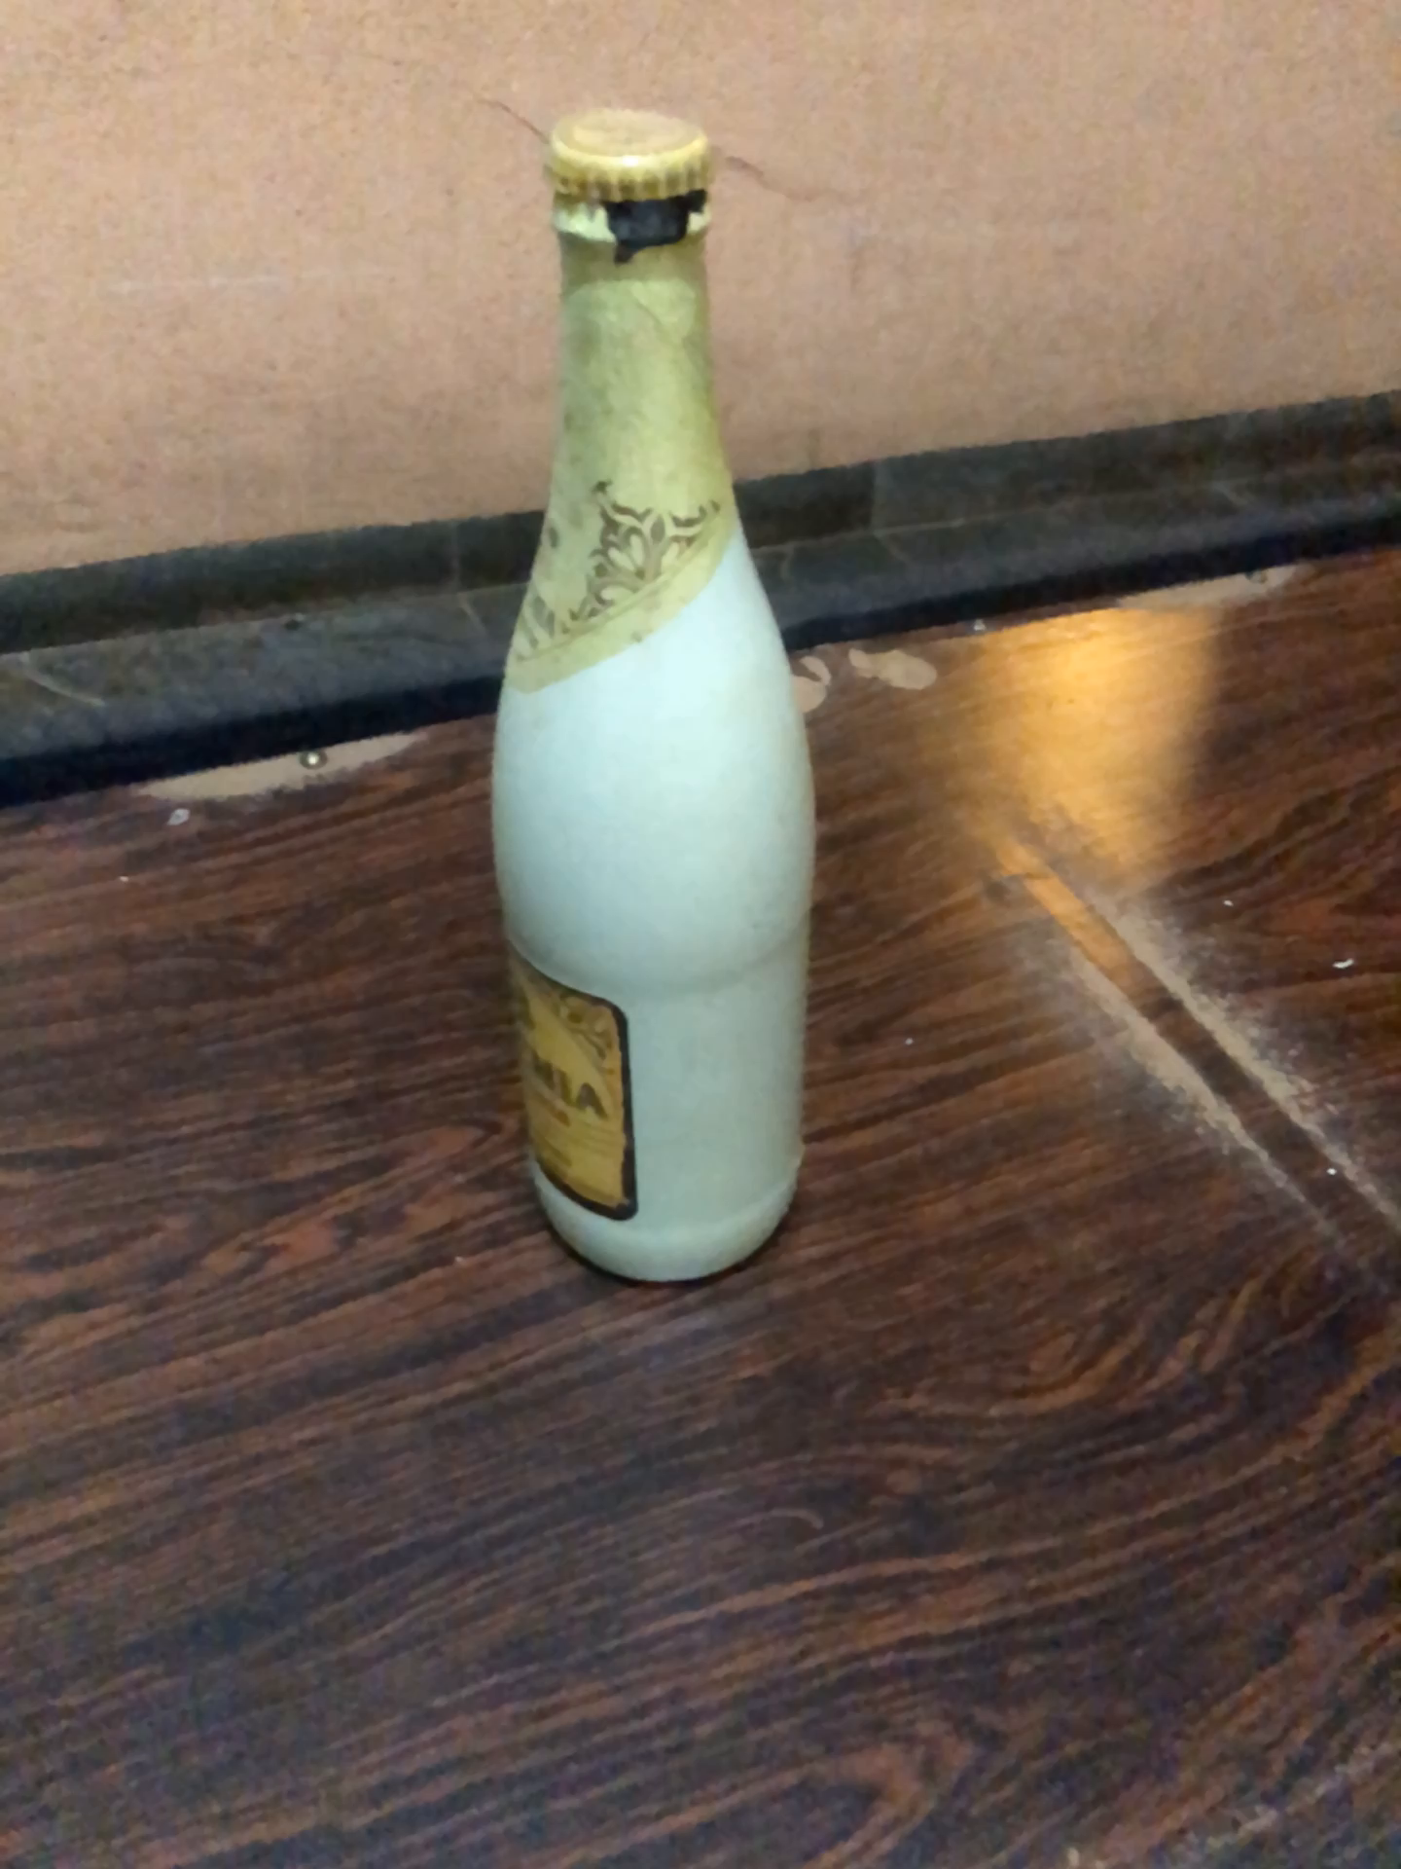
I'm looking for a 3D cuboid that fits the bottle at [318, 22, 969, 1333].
[{"bbox_3d":[-0.017,-0.035,0.315,0.080,0.248,0.081,1,40,-1],"label":"bottle"}]
